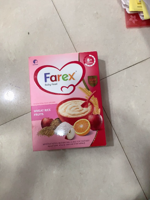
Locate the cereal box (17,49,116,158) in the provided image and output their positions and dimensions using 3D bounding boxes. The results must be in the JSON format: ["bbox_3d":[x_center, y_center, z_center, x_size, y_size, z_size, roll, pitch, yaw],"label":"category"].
[{"bbox_3d":[-0.019,0.006,0.311,0.170,0.050,0.190,-5,84,0],"label":"cereal box"}]
